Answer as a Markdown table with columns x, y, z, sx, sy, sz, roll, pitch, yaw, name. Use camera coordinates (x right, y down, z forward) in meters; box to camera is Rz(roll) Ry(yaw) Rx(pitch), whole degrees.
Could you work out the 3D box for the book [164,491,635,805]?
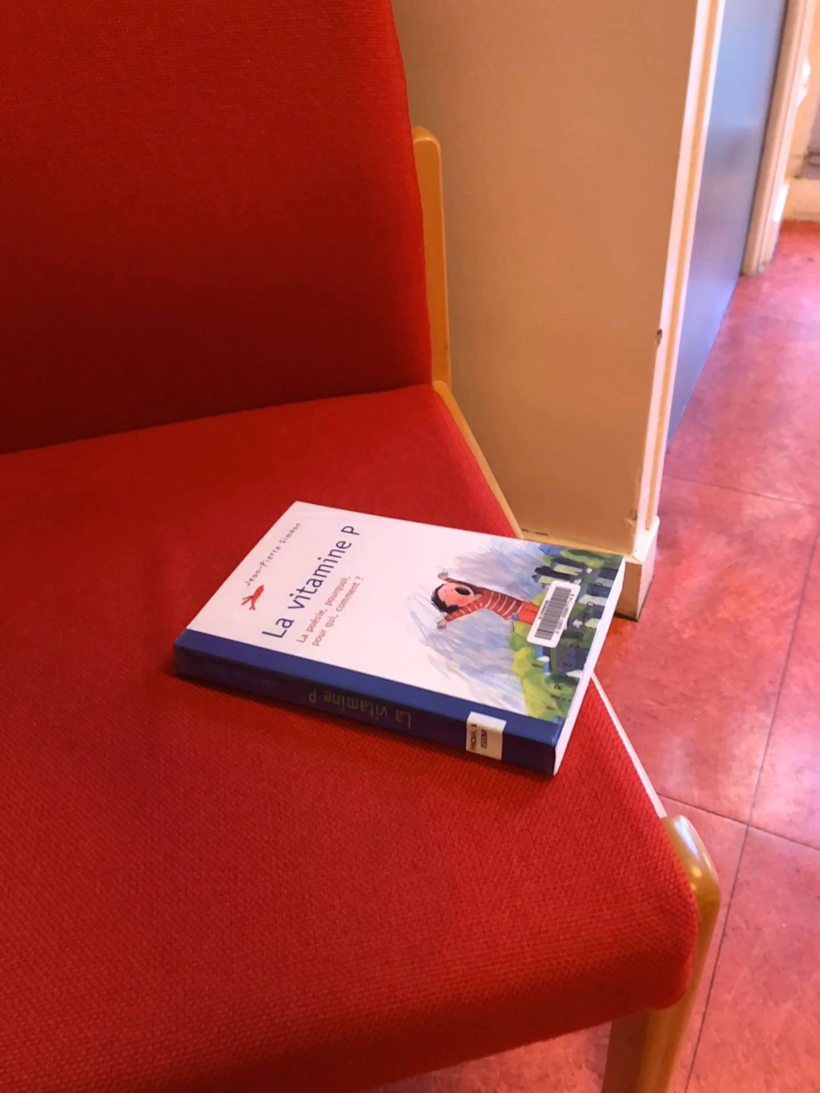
| x | y | z | sx | sy | sz | roll | pitch | yaw | name |
| --- | --- | --- | --- | --- | --- | --- | --- | --- | --- |
| -0.001 | 0.042 | 0.498 | 0.215 | 0.027 | 0.148 | 13 | 43 | 19 | book |
